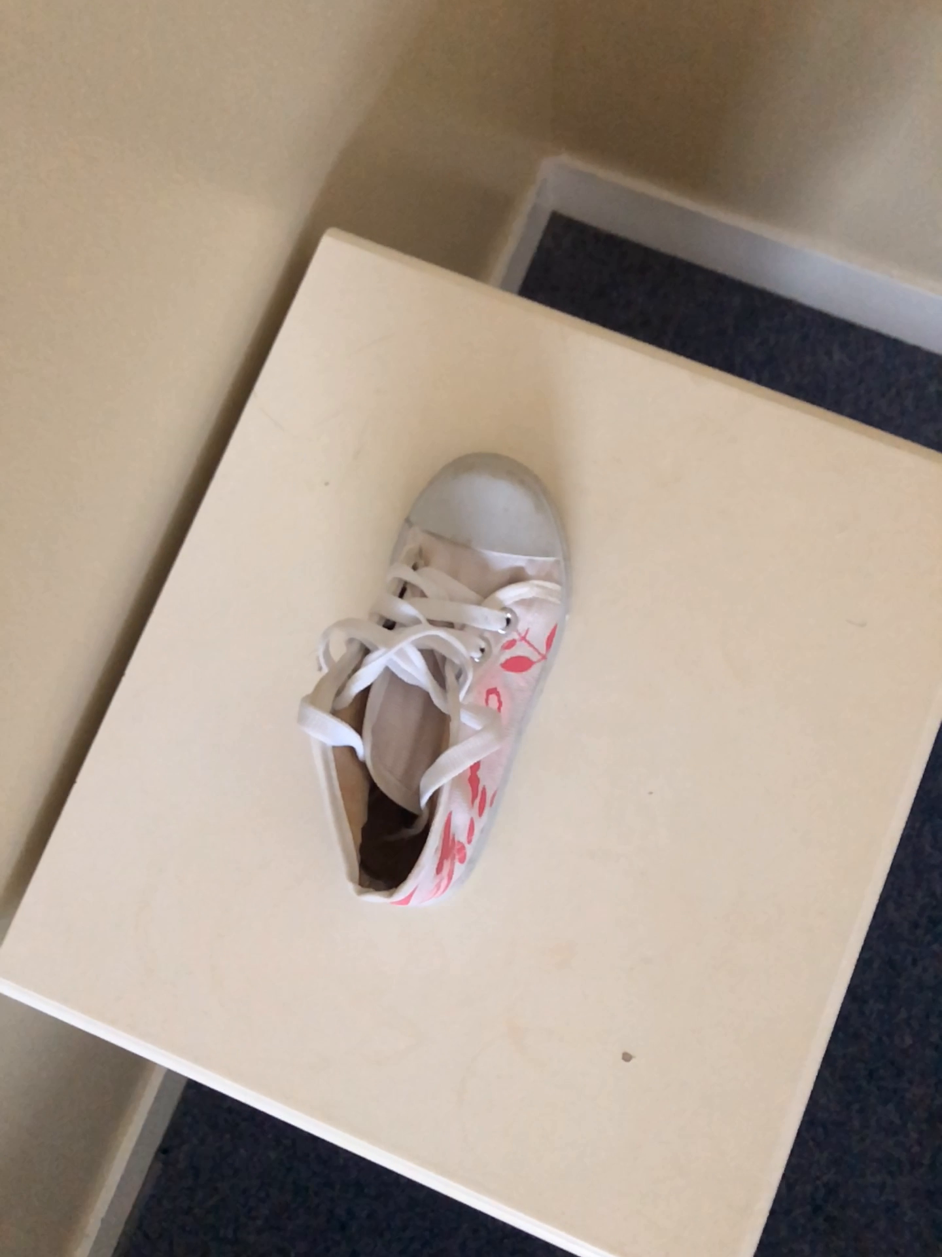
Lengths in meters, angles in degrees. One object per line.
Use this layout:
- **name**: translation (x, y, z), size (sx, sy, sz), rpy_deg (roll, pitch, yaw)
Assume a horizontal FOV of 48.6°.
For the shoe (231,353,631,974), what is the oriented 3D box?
- **shoe**: translation (-0.009, 0.014, 0.392), size (0.080, 0.100, 0.190), rpy_deg (16, 83, 5)
